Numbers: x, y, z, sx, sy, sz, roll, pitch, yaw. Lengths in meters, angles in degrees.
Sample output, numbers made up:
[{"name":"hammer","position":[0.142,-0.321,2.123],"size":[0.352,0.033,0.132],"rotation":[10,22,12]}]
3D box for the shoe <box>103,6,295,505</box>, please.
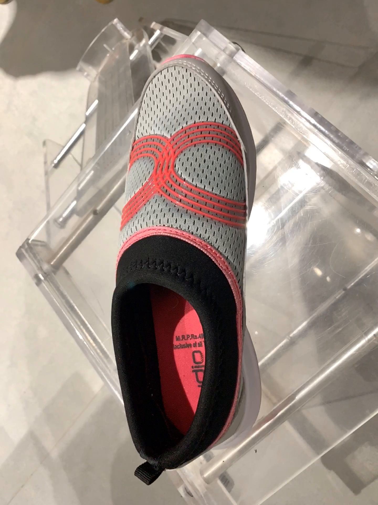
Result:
[{"name":"shoe","position":[0.008,0.001,0.288],"size":[0.100,0.080,0.300],"rotation":[-6,84,22]}]
